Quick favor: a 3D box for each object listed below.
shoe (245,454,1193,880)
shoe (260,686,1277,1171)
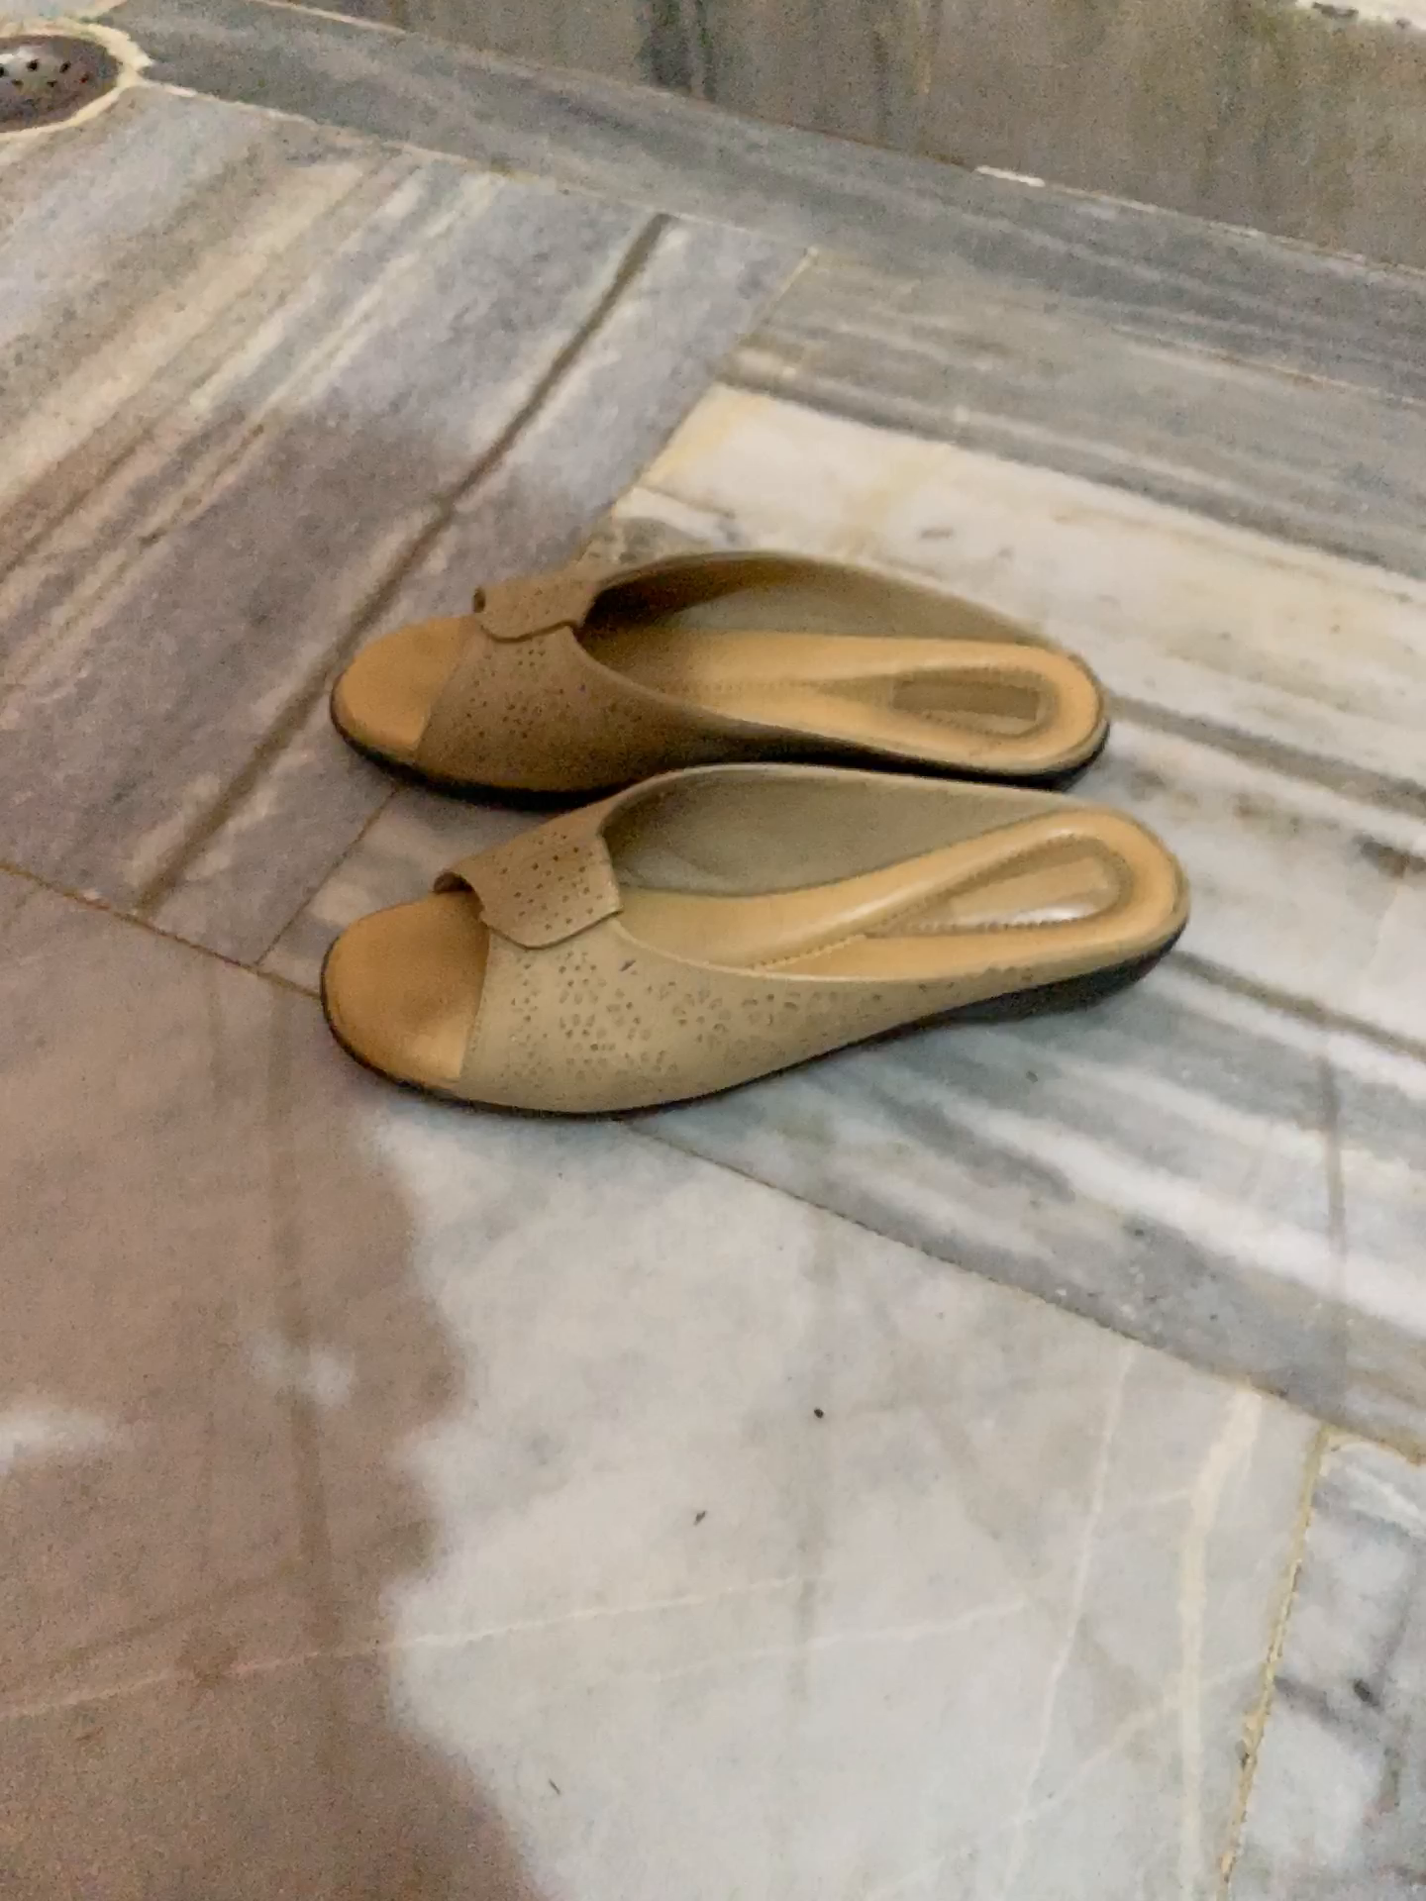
[{"bbox_3d":[0.003,-0.093,0.481,0.274,0.070,0.095,5,55,3],"label":"shoe"},{"bbox_3d":[0.011,-0.008,0.430,0.260,0.070,0.095,-5,55,-4],"label":"shoe"}]
